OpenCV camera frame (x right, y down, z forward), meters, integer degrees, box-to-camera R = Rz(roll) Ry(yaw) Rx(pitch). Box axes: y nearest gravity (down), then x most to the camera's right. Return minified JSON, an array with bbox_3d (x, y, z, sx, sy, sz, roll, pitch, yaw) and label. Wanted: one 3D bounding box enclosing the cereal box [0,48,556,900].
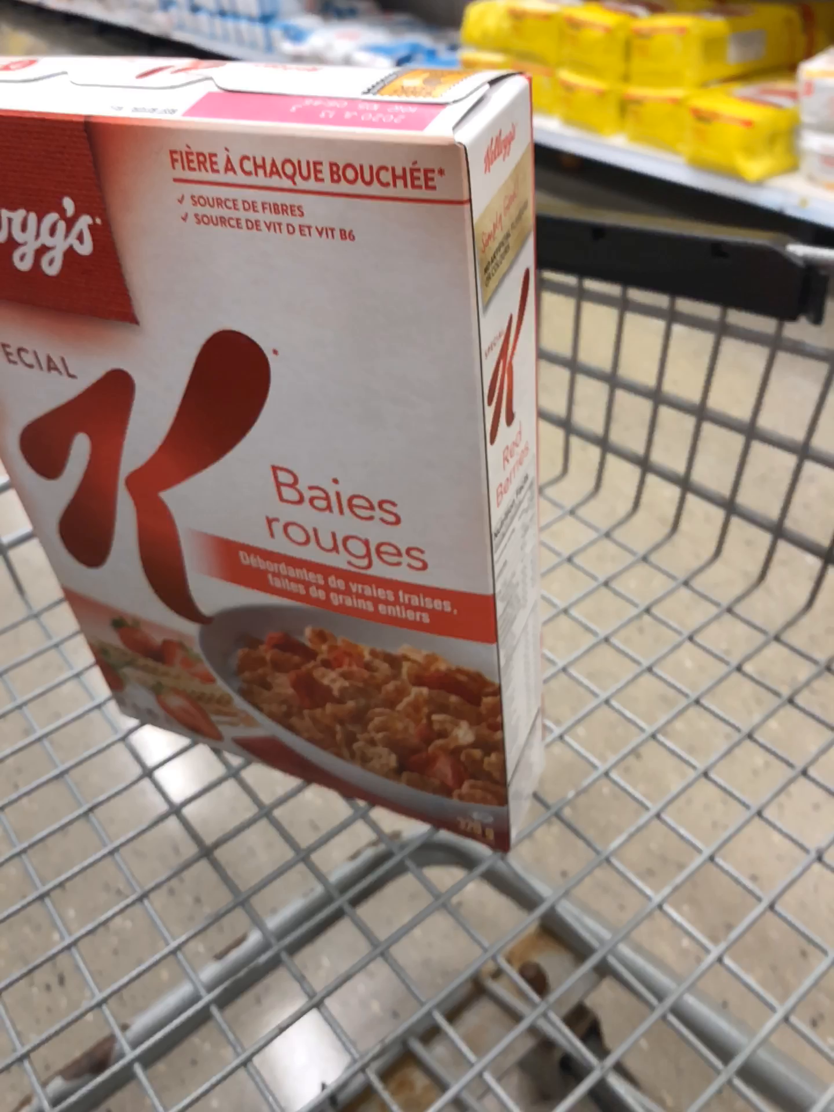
[{"bbox_3d":[-0.063,-0.016,0.321,0.210,0.269,0.050,14,43,23],"label":"cereal box"}]
